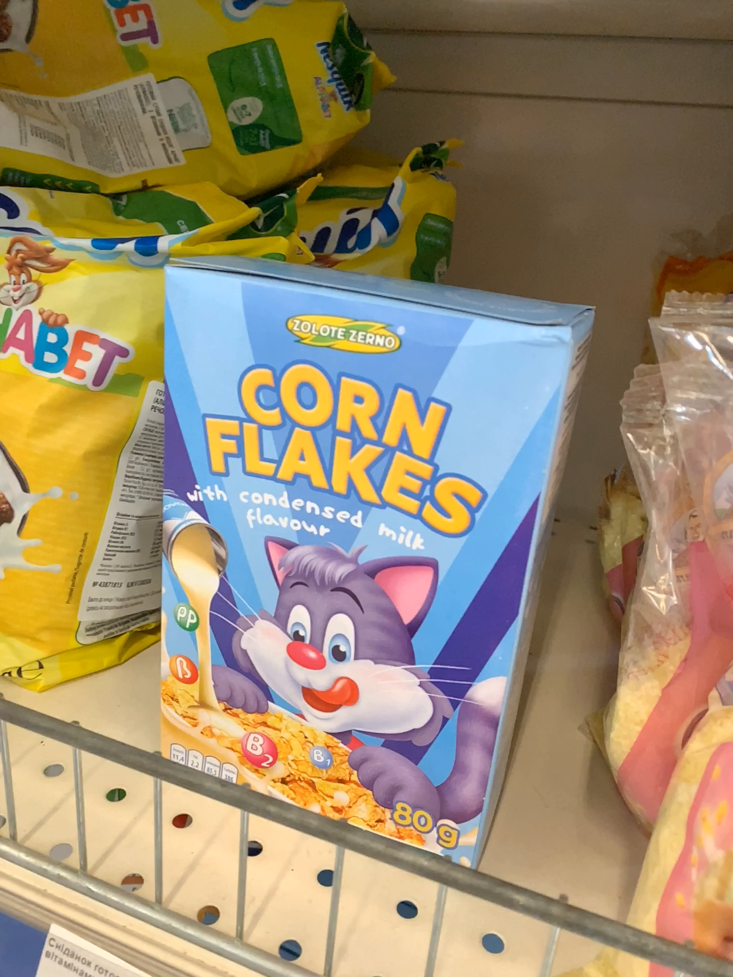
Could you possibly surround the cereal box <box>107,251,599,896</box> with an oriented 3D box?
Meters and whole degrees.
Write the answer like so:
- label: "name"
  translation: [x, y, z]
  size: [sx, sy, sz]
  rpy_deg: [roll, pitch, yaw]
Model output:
- label: "cereal box"
  translation: [-0.010, 0.019, 0.227]
  size: [0.120, 0.159, 0.050]
  rpy_deg: [12, 20, 18]
